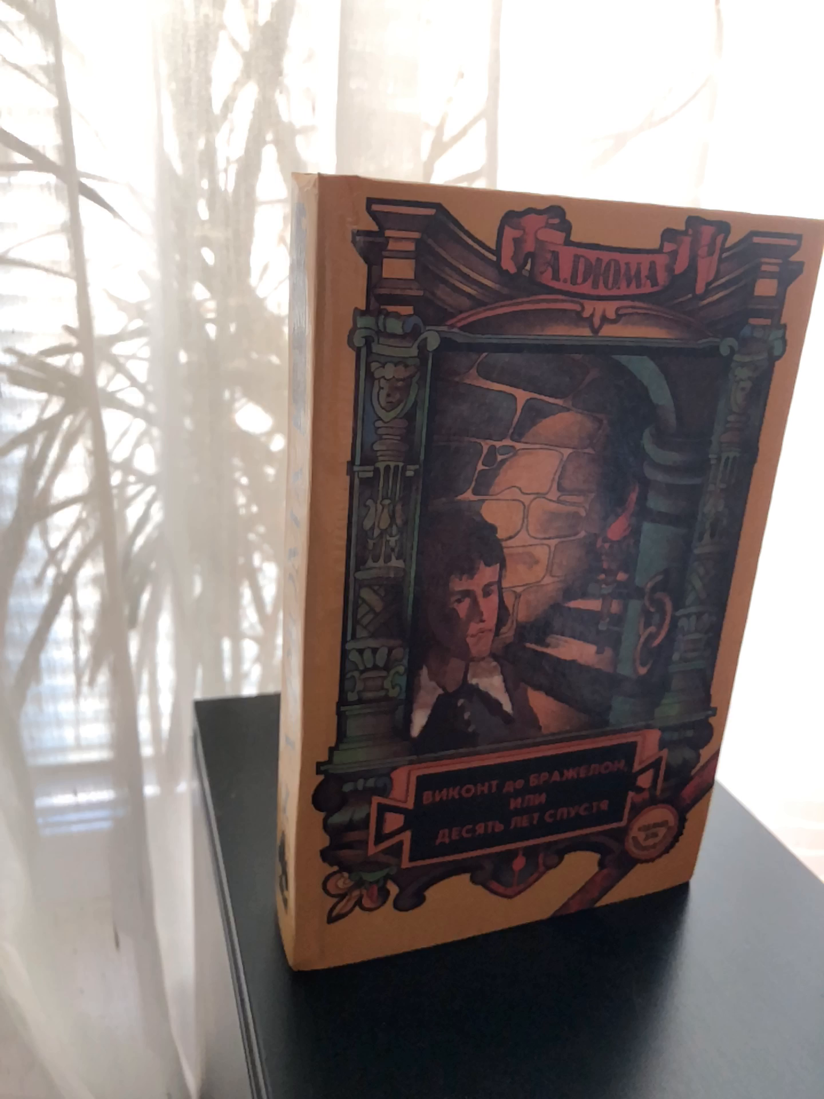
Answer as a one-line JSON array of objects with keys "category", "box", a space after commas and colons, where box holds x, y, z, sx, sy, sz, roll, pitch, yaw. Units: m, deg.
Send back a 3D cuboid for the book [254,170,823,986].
[{"category": "book", "box": [0.033, 0.009, 0.251, 0.141, 0.198, 0.040, -4, 20, -19]}]
